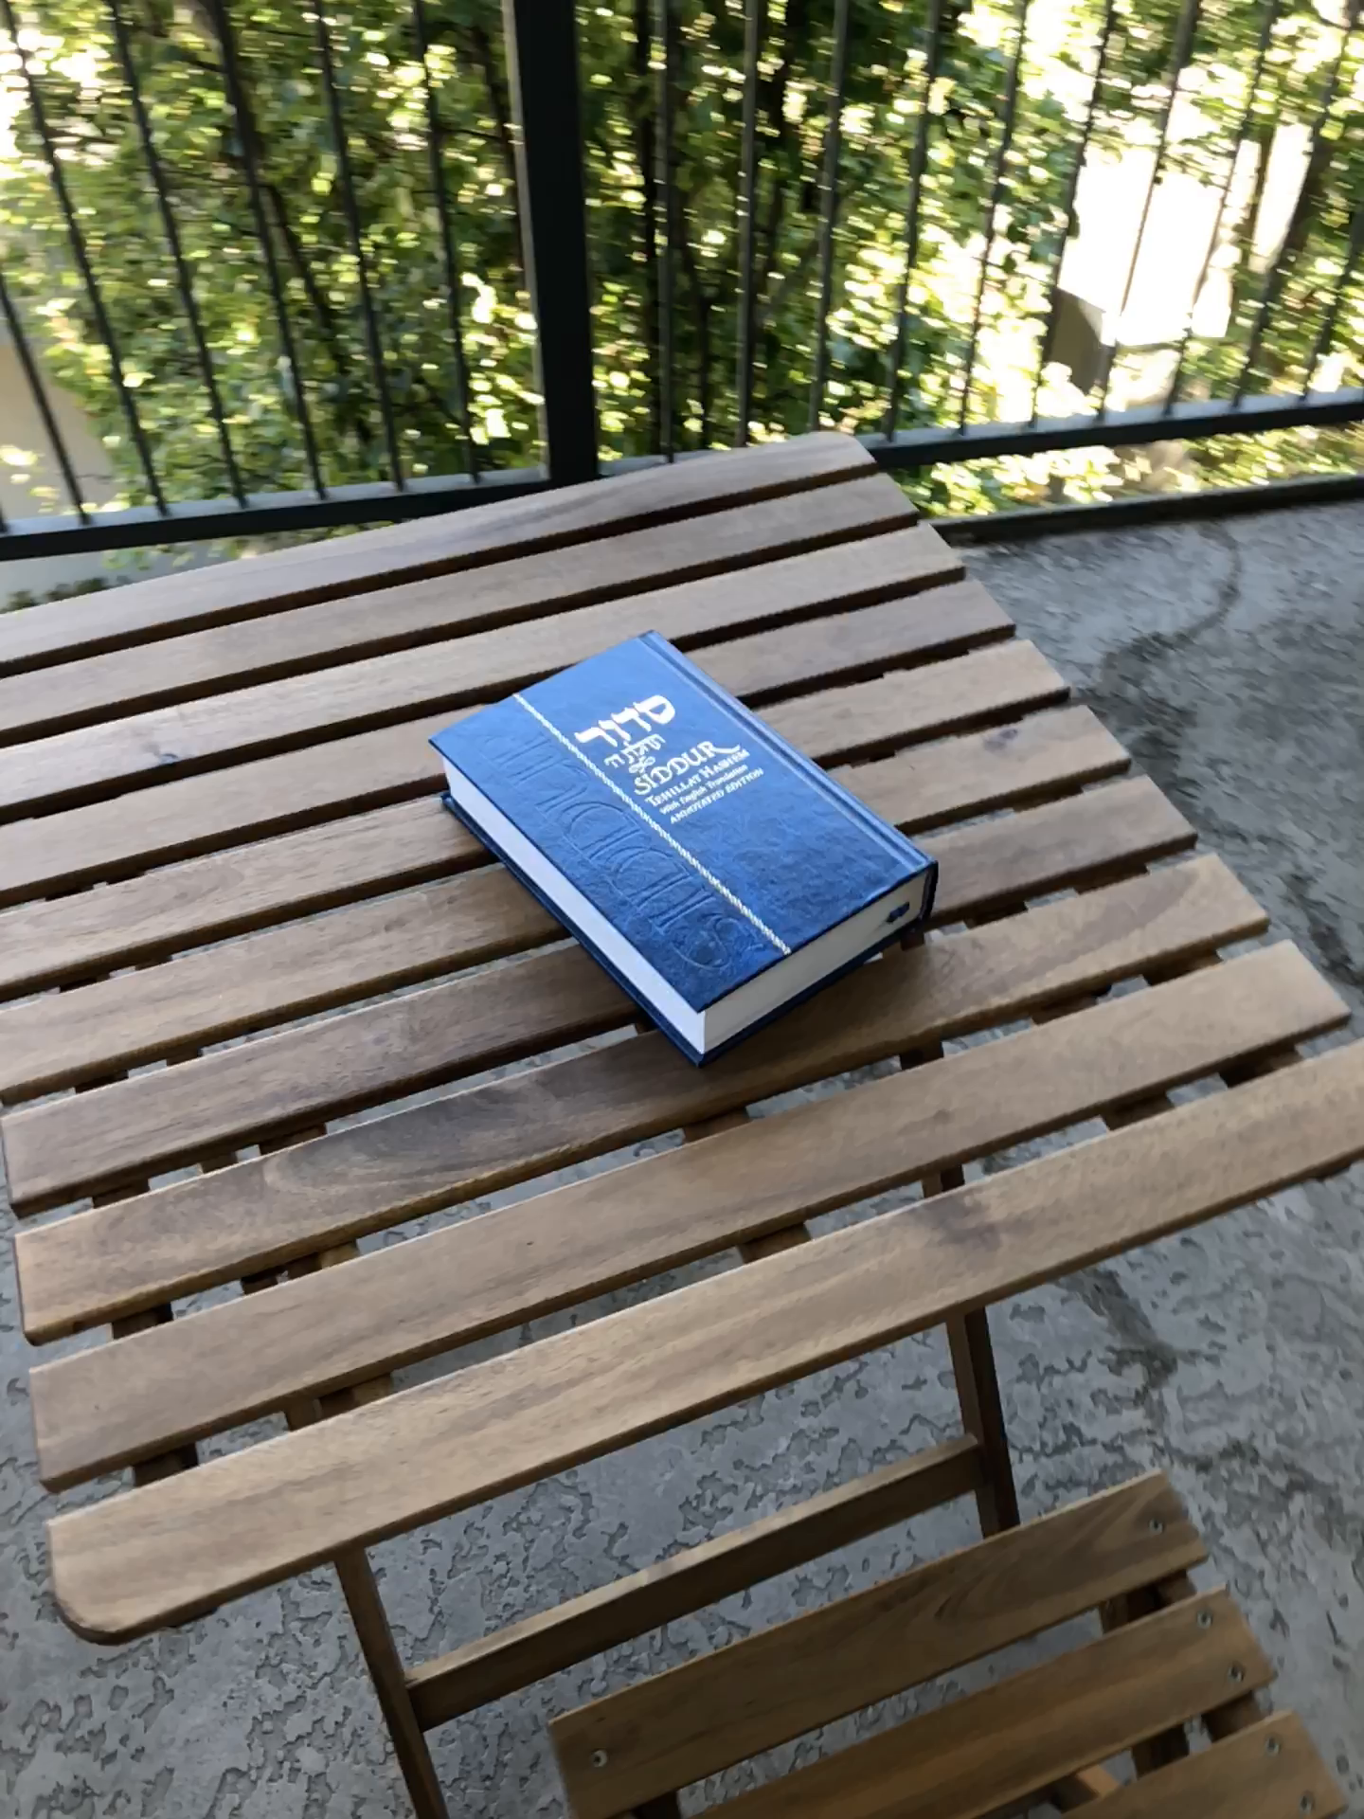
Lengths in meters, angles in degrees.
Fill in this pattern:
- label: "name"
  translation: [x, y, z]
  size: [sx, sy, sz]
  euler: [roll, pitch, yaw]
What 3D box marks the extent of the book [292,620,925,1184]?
- label: "book"
  translation: [-0.039, -0.017, 0.736]
  size: [0.200, 0.070, 0.230]
  euler: [-31, 56, -24]
